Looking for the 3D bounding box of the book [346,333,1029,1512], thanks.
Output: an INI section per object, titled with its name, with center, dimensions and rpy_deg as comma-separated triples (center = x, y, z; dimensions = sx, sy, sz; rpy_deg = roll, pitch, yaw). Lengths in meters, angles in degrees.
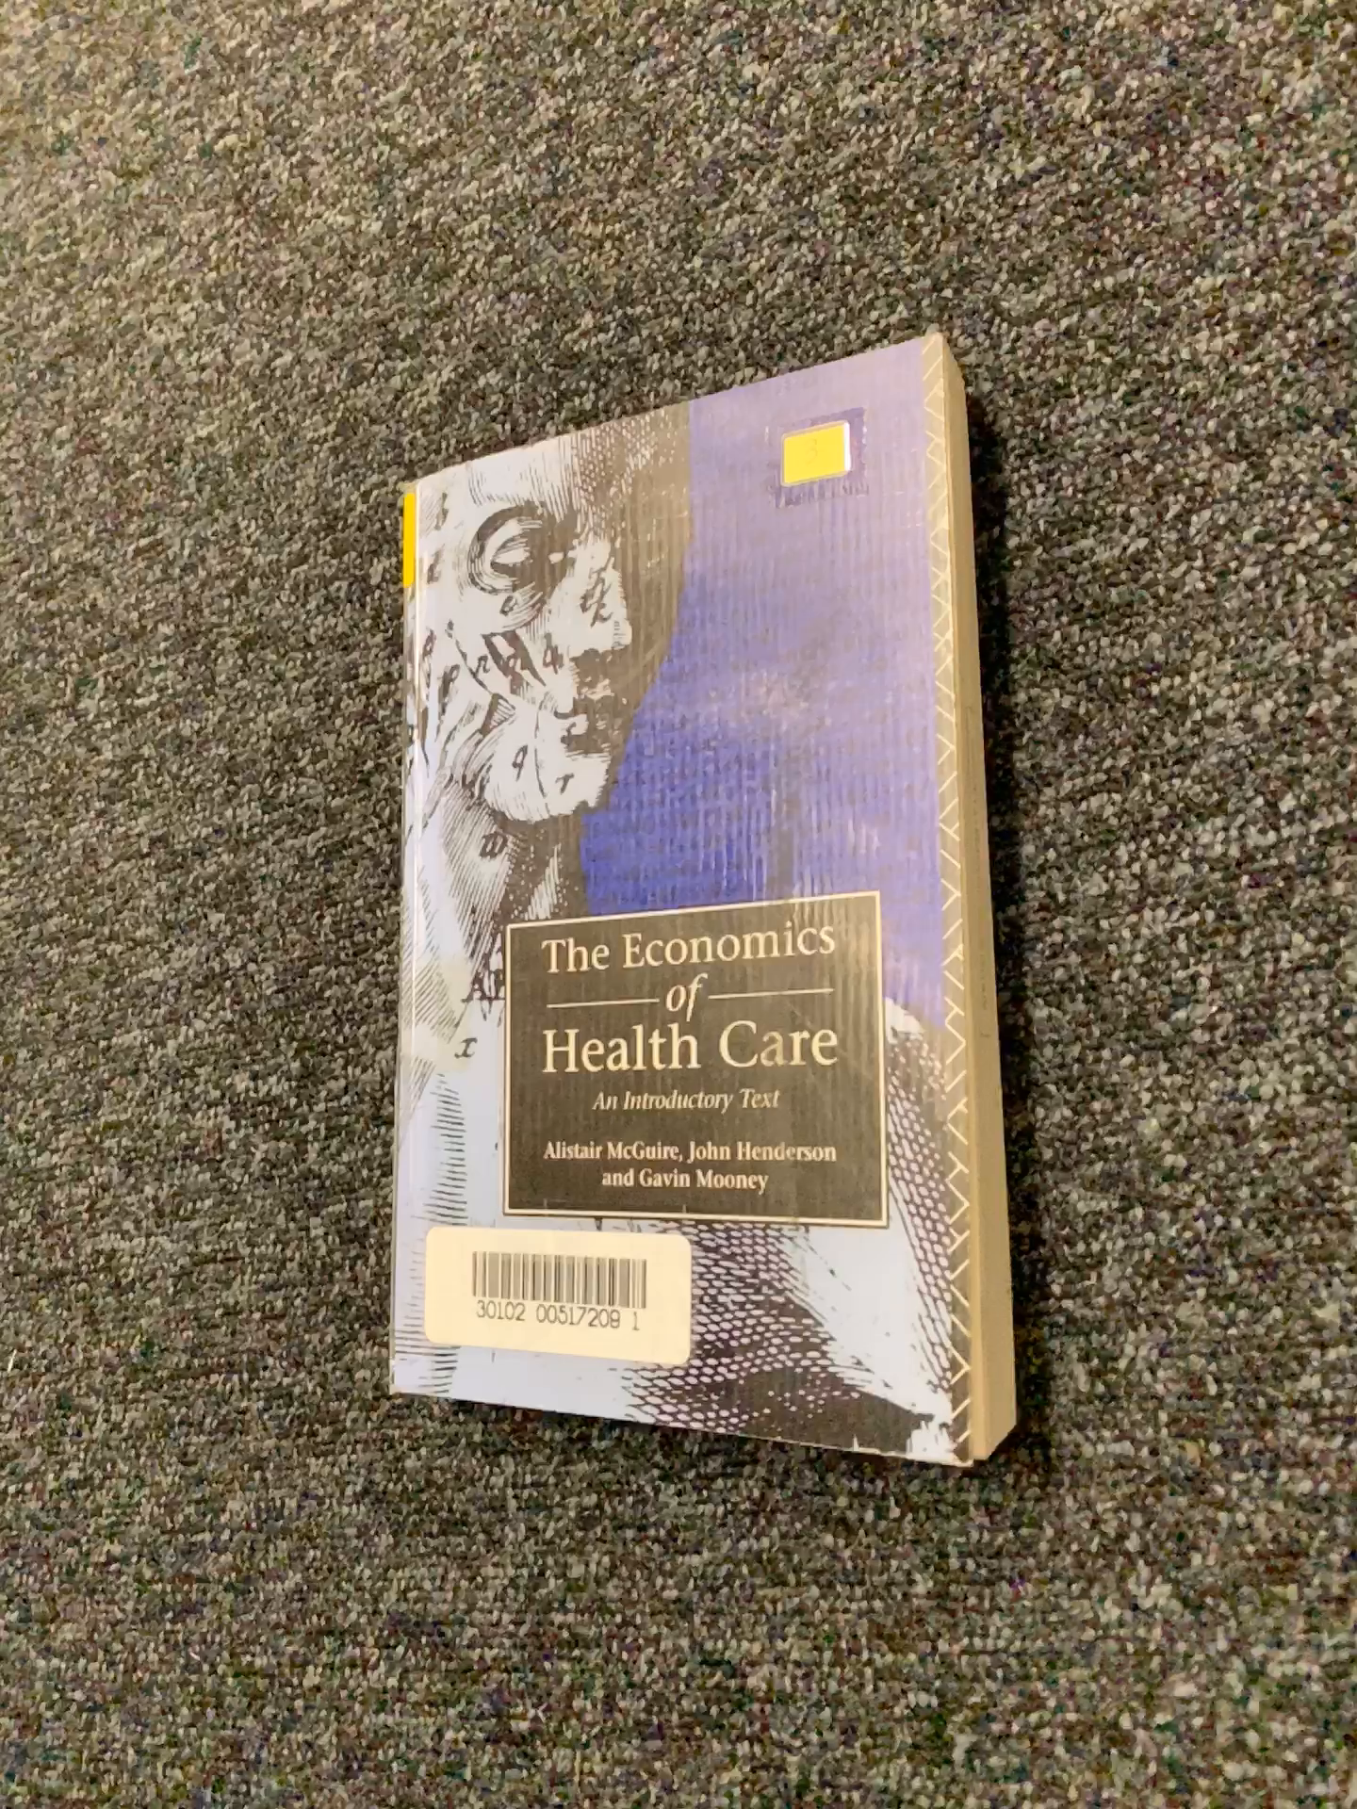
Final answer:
[book]
center = -0.003, 0.003, 0.288
dimensions = 0.136, 0.030, 0.207
rpy_deg = -5, 80, 29
